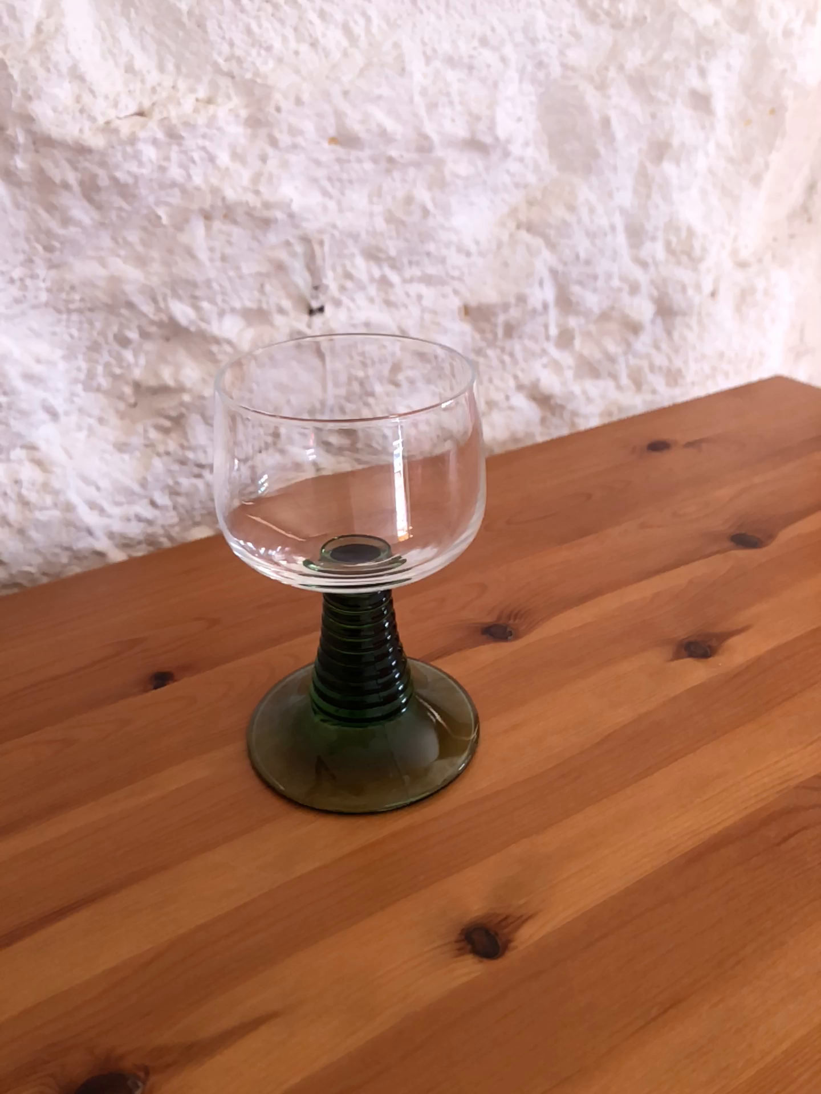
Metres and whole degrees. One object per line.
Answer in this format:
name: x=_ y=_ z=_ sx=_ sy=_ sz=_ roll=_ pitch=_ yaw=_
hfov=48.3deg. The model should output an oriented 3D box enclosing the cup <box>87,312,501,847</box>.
cup: x=-0.020 y=0.004 z=0.232 sx=0.073 sy=0.106 sz=0.075 roll=-1 pitch=29 yaw=0
